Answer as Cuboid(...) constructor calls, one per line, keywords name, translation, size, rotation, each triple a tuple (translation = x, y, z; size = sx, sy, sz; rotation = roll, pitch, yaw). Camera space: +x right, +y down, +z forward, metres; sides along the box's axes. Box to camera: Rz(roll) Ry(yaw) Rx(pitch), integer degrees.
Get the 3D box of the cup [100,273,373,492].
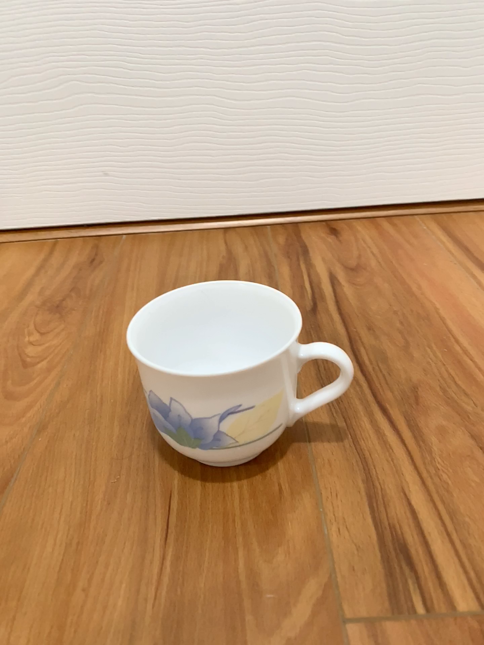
Cuboid(name="cup", translation=(0.002, 0.024, 0.240), size=(0.103, 0.063, 0.084), rotation=(-1, 32, 6))
